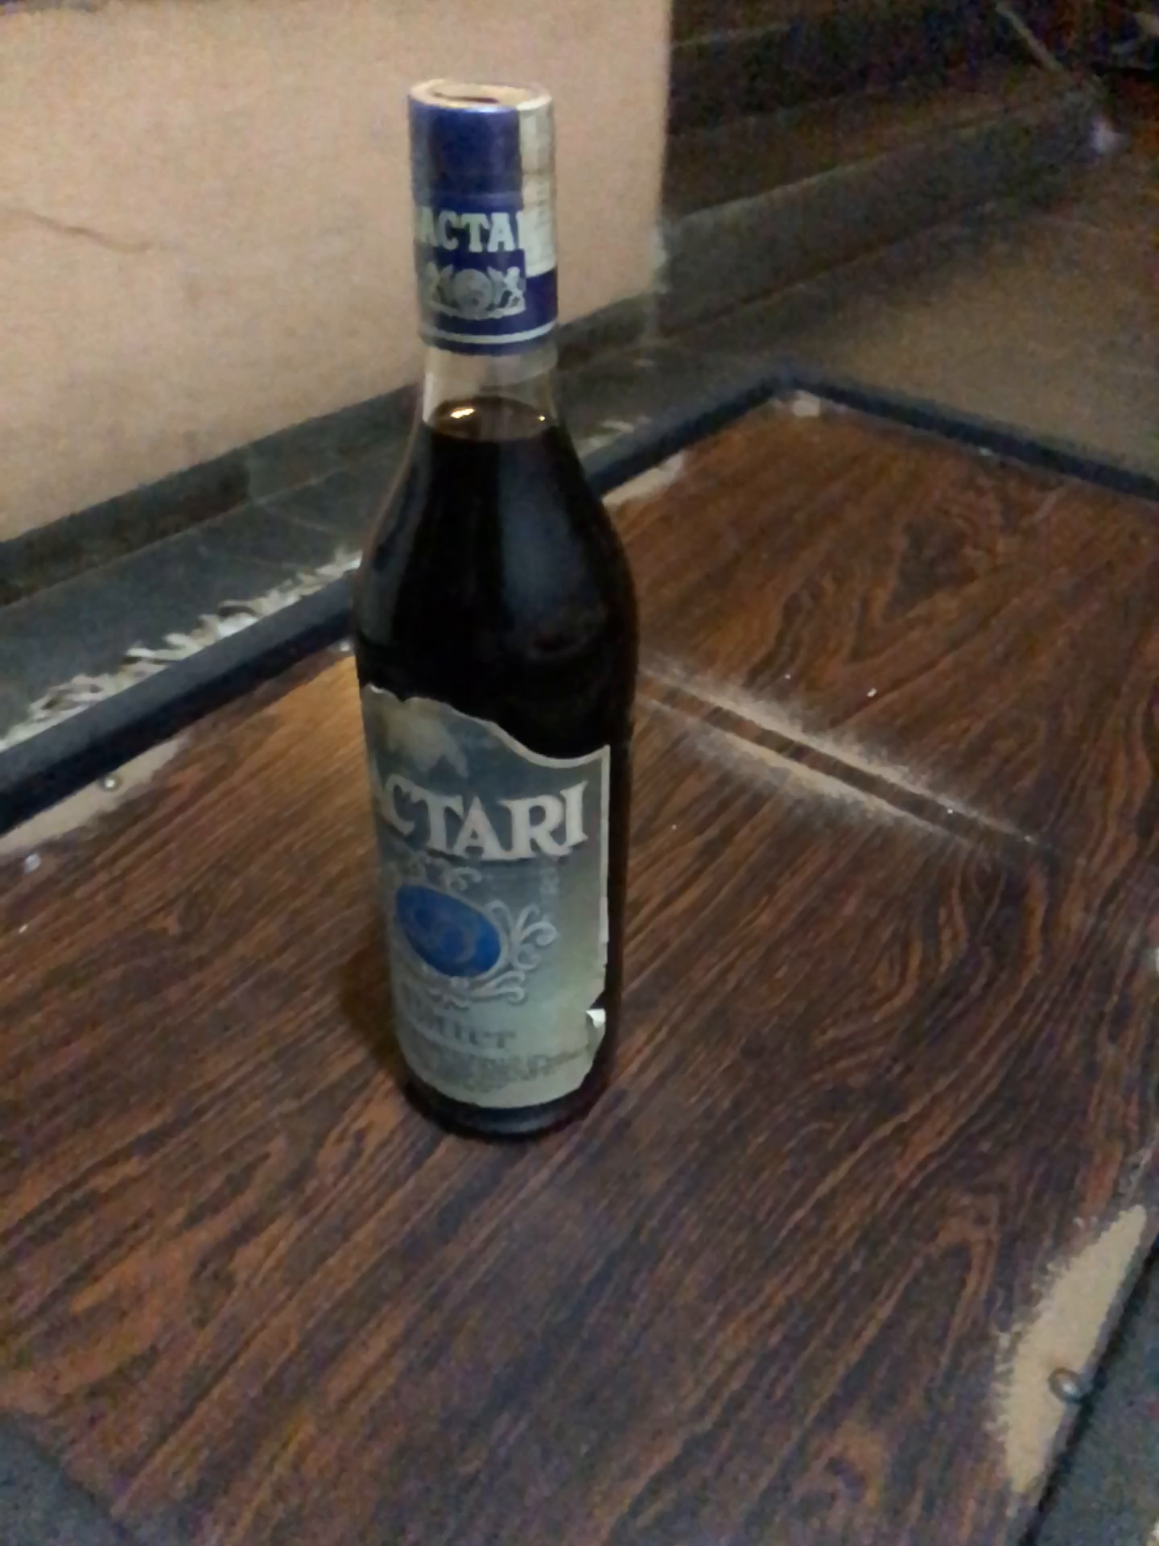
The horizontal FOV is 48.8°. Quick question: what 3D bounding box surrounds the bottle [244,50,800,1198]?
[{"bbox_3d":[-0.016,-0.022,0.365,0.090,0.307,0.081,21,40,23],"label":"bottle"}]
